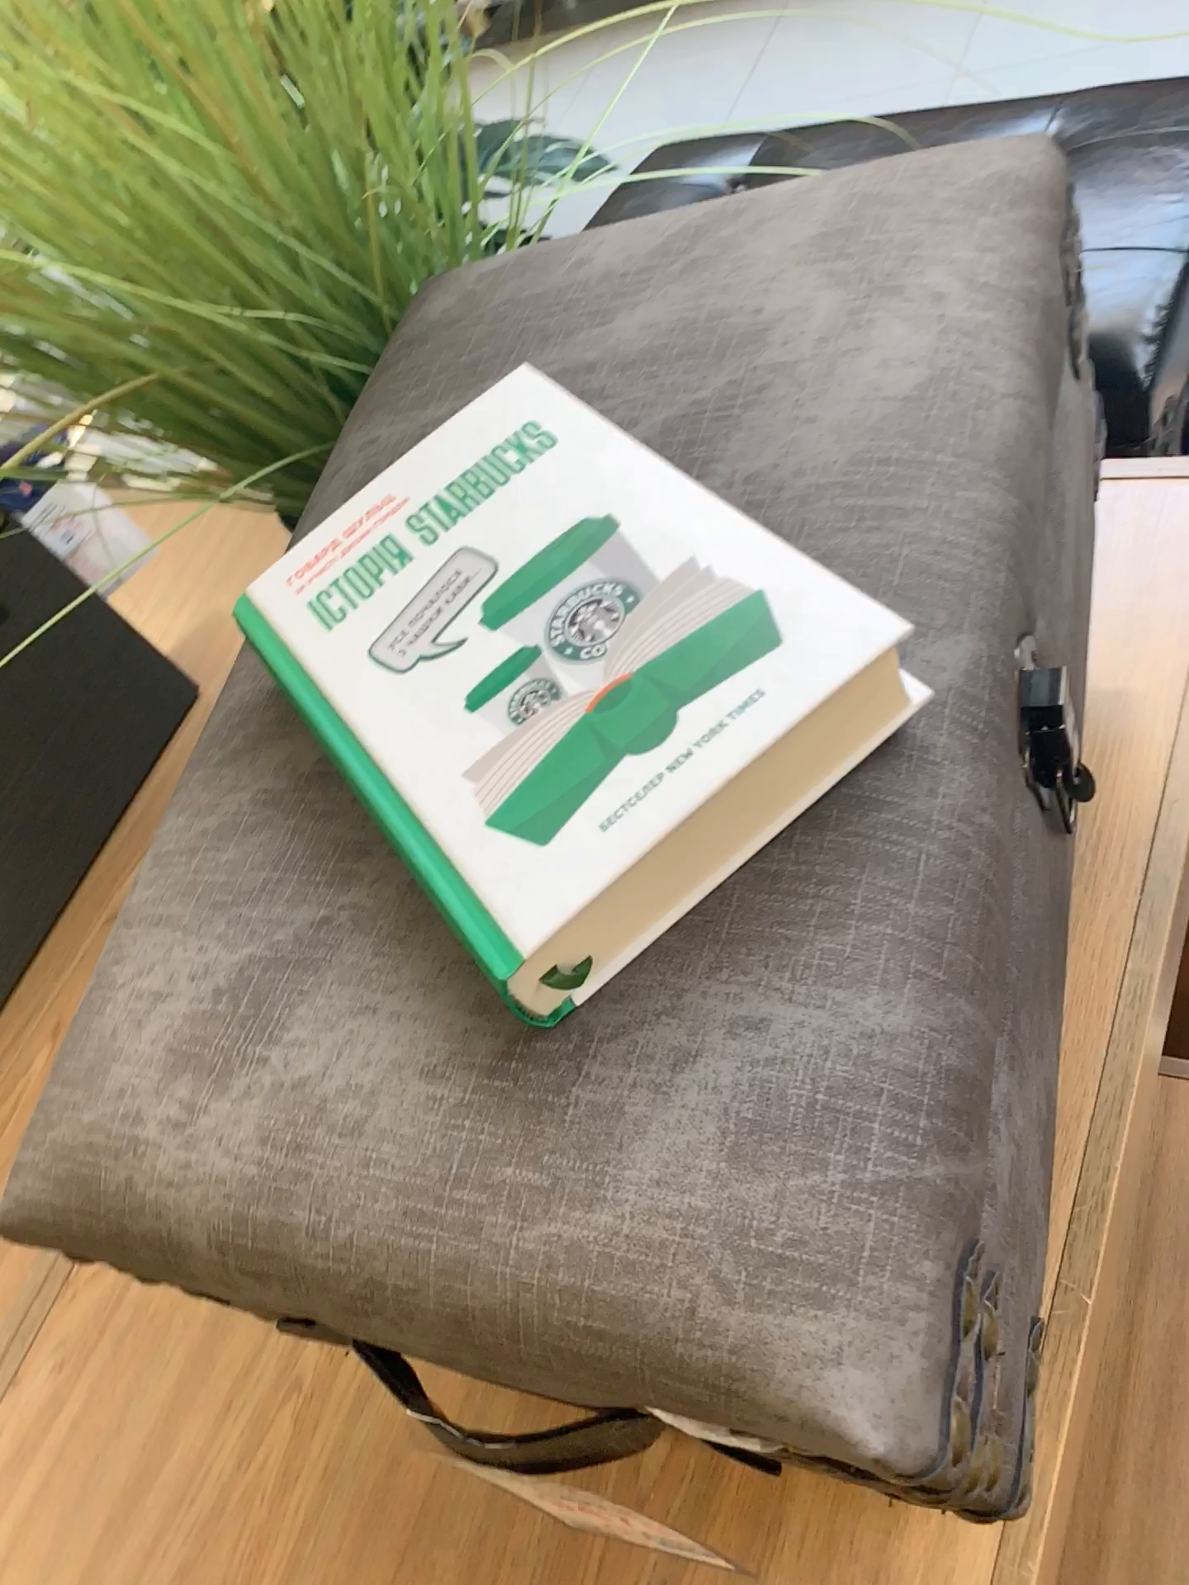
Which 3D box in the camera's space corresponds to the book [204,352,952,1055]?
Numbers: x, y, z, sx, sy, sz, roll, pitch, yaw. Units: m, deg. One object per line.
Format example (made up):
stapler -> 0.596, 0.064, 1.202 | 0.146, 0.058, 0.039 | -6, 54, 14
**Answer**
book -> -0.024, -0.051, 0.419 | 0.160, 0.040, 0.236 | -41, 48, -4
